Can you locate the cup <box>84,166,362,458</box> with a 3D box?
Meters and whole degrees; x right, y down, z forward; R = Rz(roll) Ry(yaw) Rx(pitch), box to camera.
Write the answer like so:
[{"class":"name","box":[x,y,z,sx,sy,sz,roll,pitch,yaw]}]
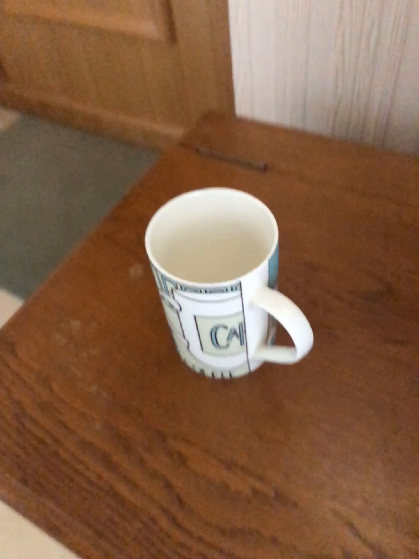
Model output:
[{"class":"cup","box":[0.008,0.017,0.276,0.080,0.099,0.120,-40,57,-22]}]
